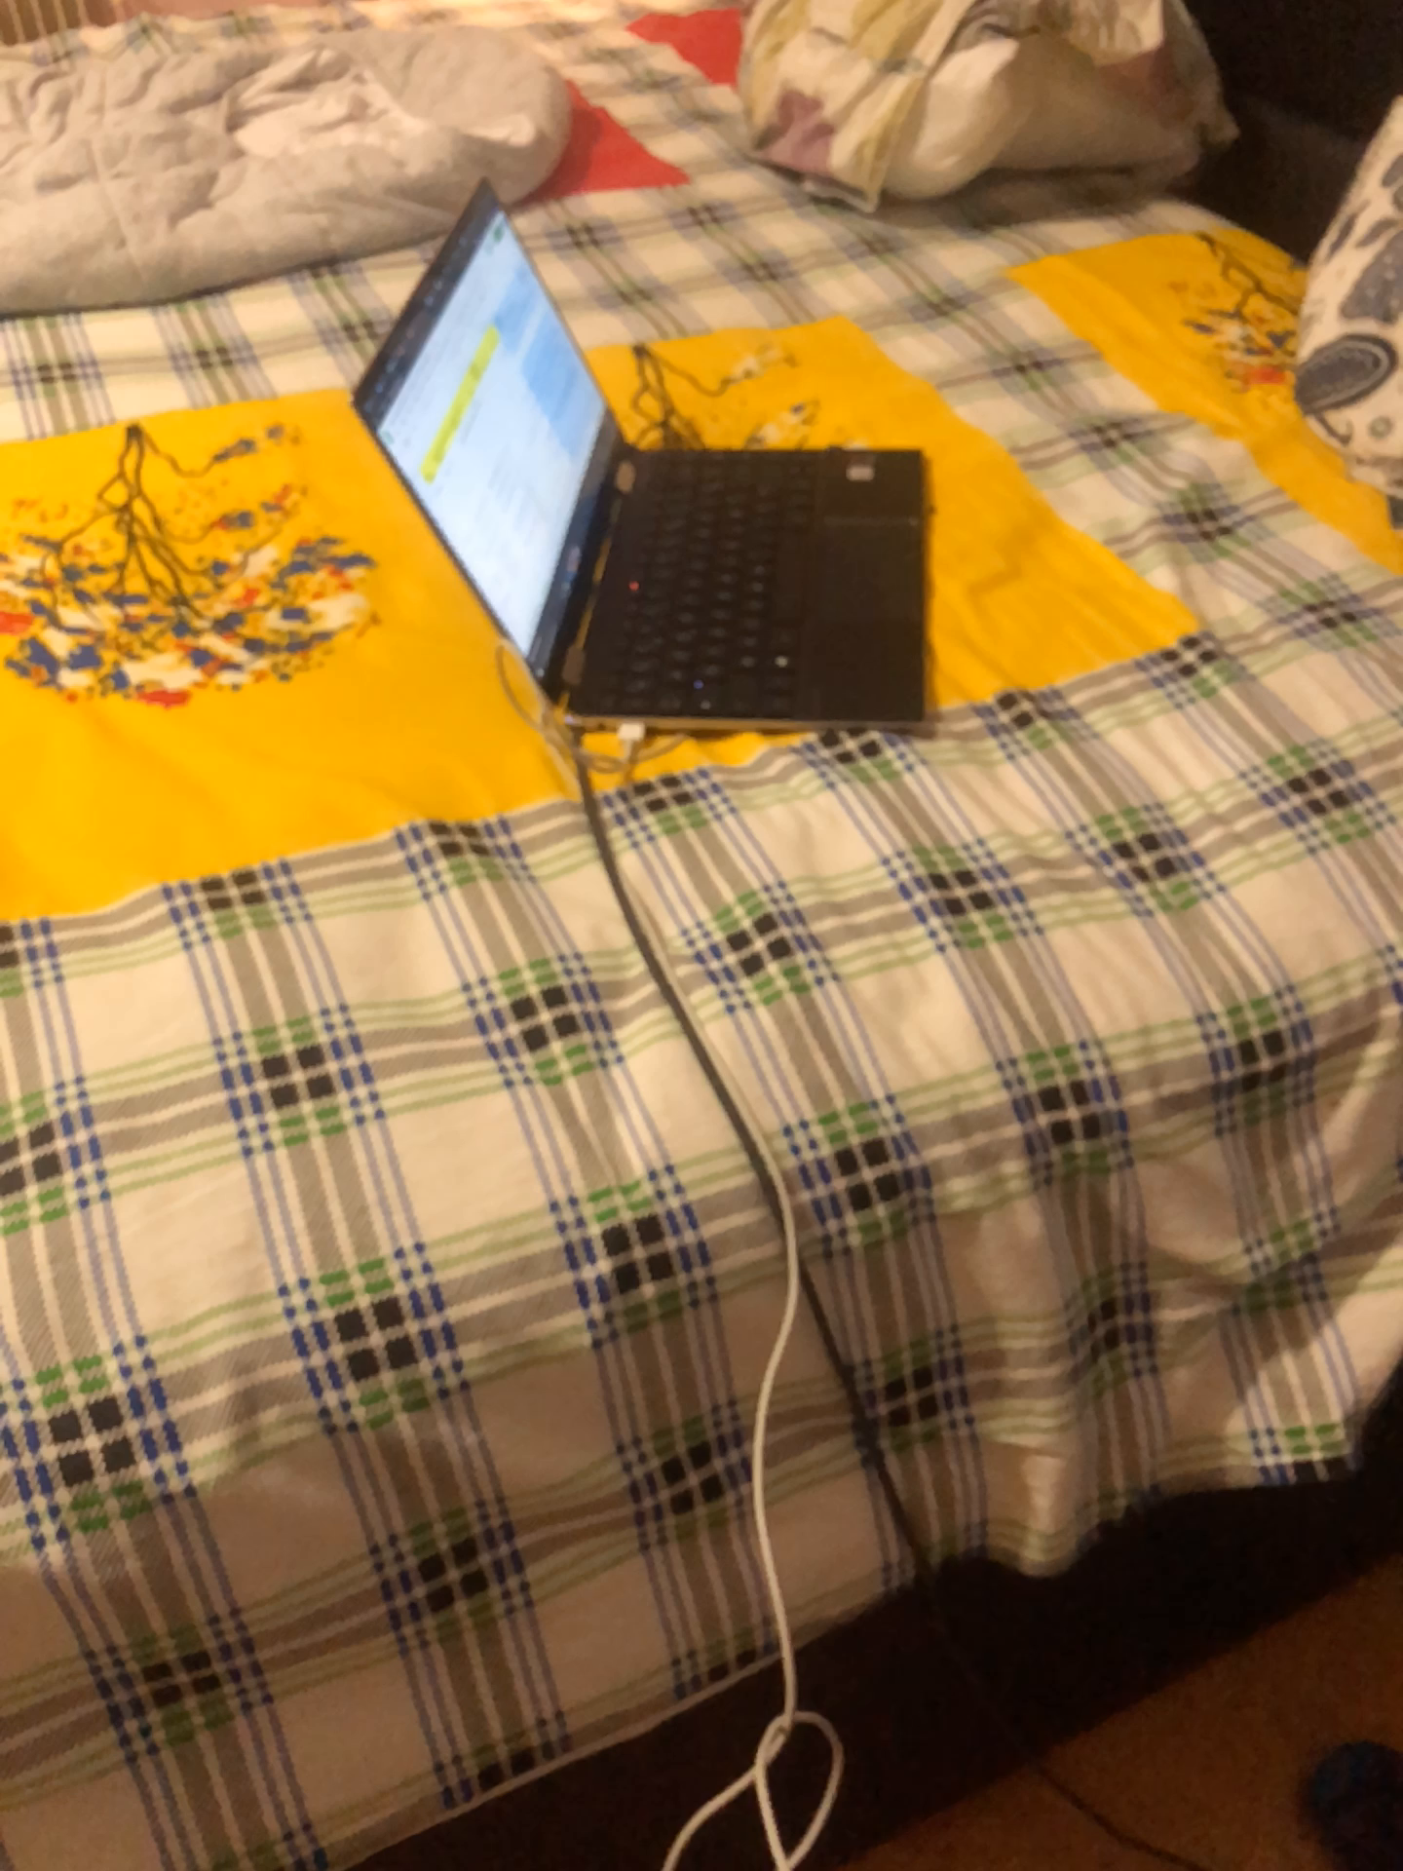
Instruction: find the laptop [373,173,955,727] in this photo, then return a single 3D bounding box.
[{"bbox_3d":[-0.004,-0.266,0.819,0.253,0.158,0.276,4,46,6],"label":"laptop"}]
